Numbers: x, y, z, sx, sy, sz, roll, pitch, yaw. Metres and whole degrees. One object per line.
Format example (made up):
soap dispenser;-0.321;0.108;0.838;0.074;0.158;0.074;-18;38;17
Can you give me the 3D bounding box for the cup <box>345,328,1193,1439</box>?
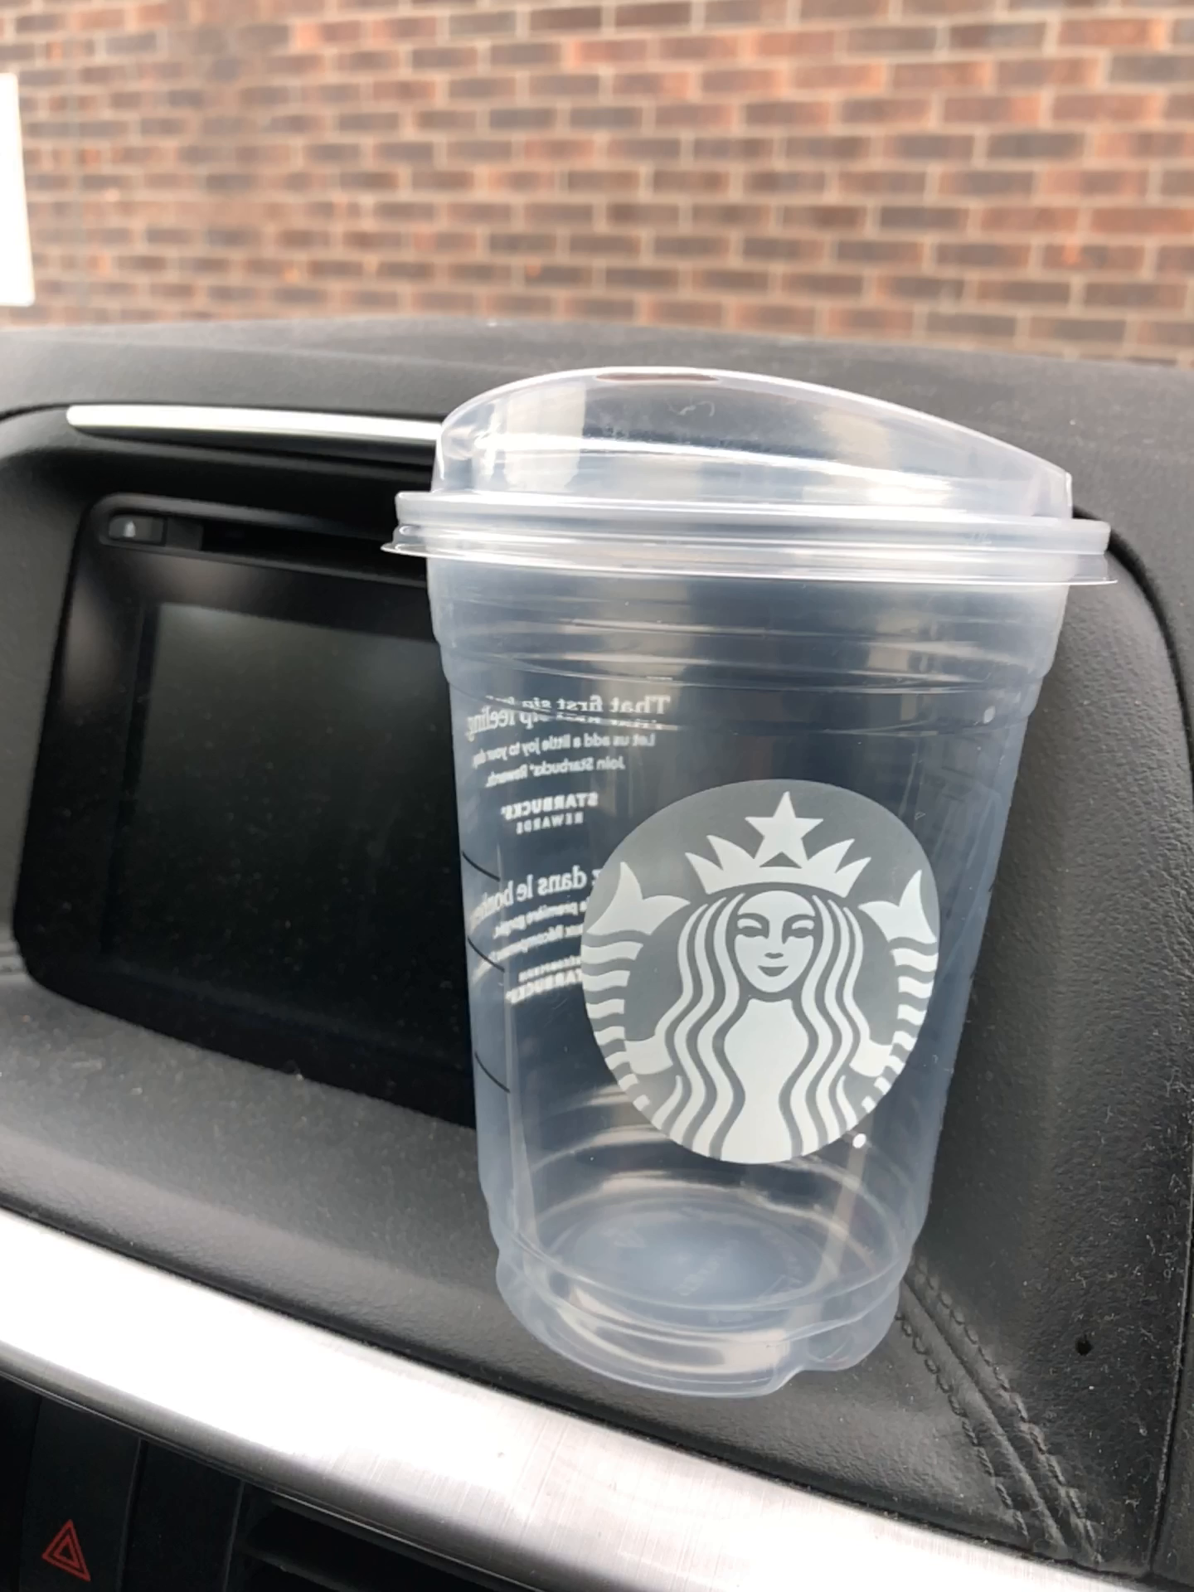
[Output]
cup;0.017;0.005;0.185;0.088;0.125;0.082;3;18;-1
